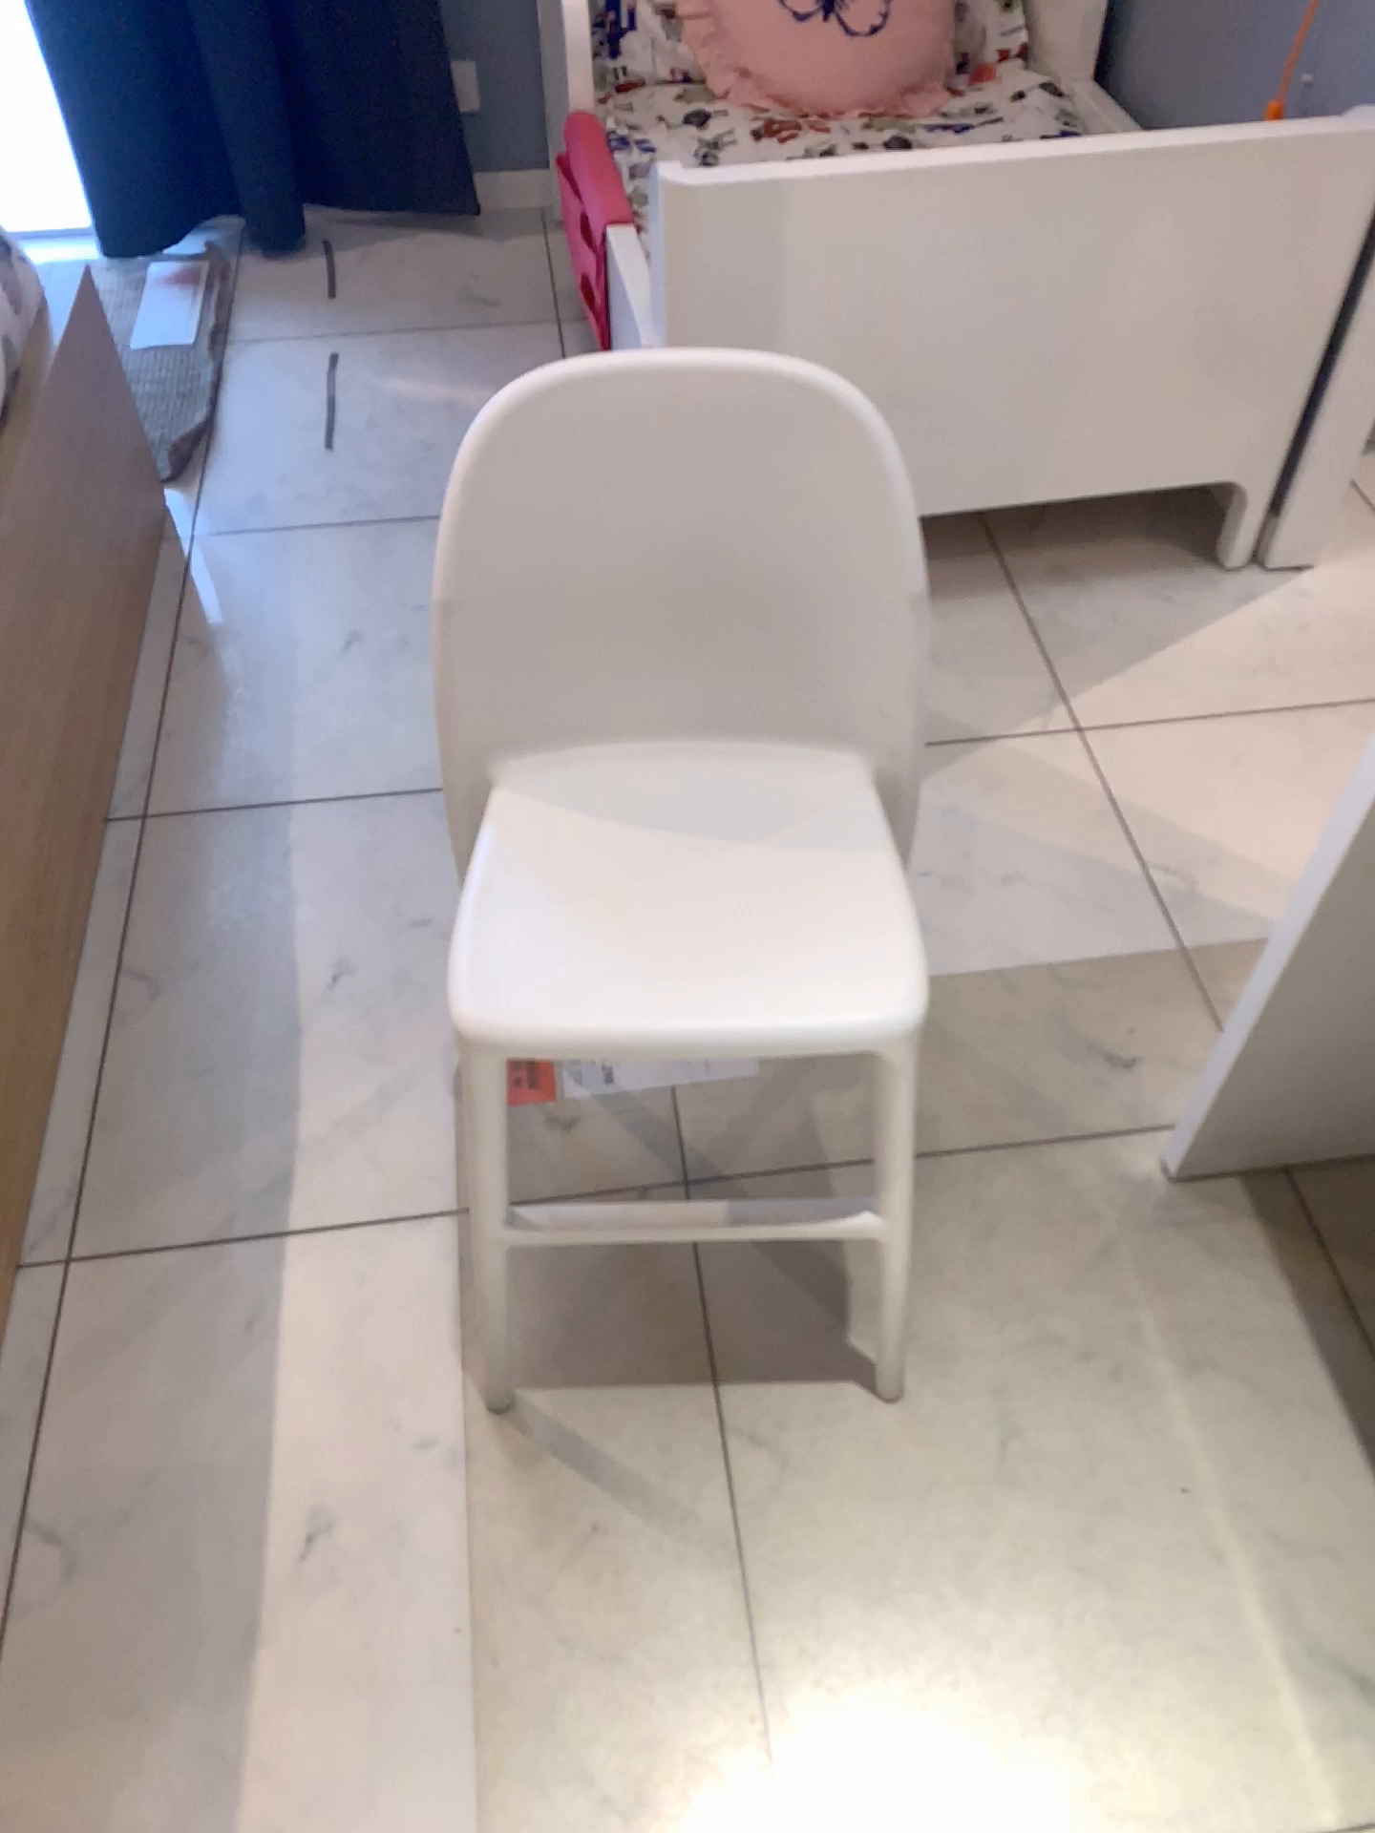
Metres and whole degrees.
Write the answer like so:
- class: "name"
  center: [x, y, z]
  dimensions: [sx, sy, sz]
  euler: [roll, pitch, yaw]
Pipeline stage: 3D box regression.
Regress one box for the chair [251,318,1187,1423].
- class: "chair"
  center: [0.013, 0.004, 1.066]
  dimensions: [0.430, 0.698, 0.502]
  euler: [-1, 49, 0]
